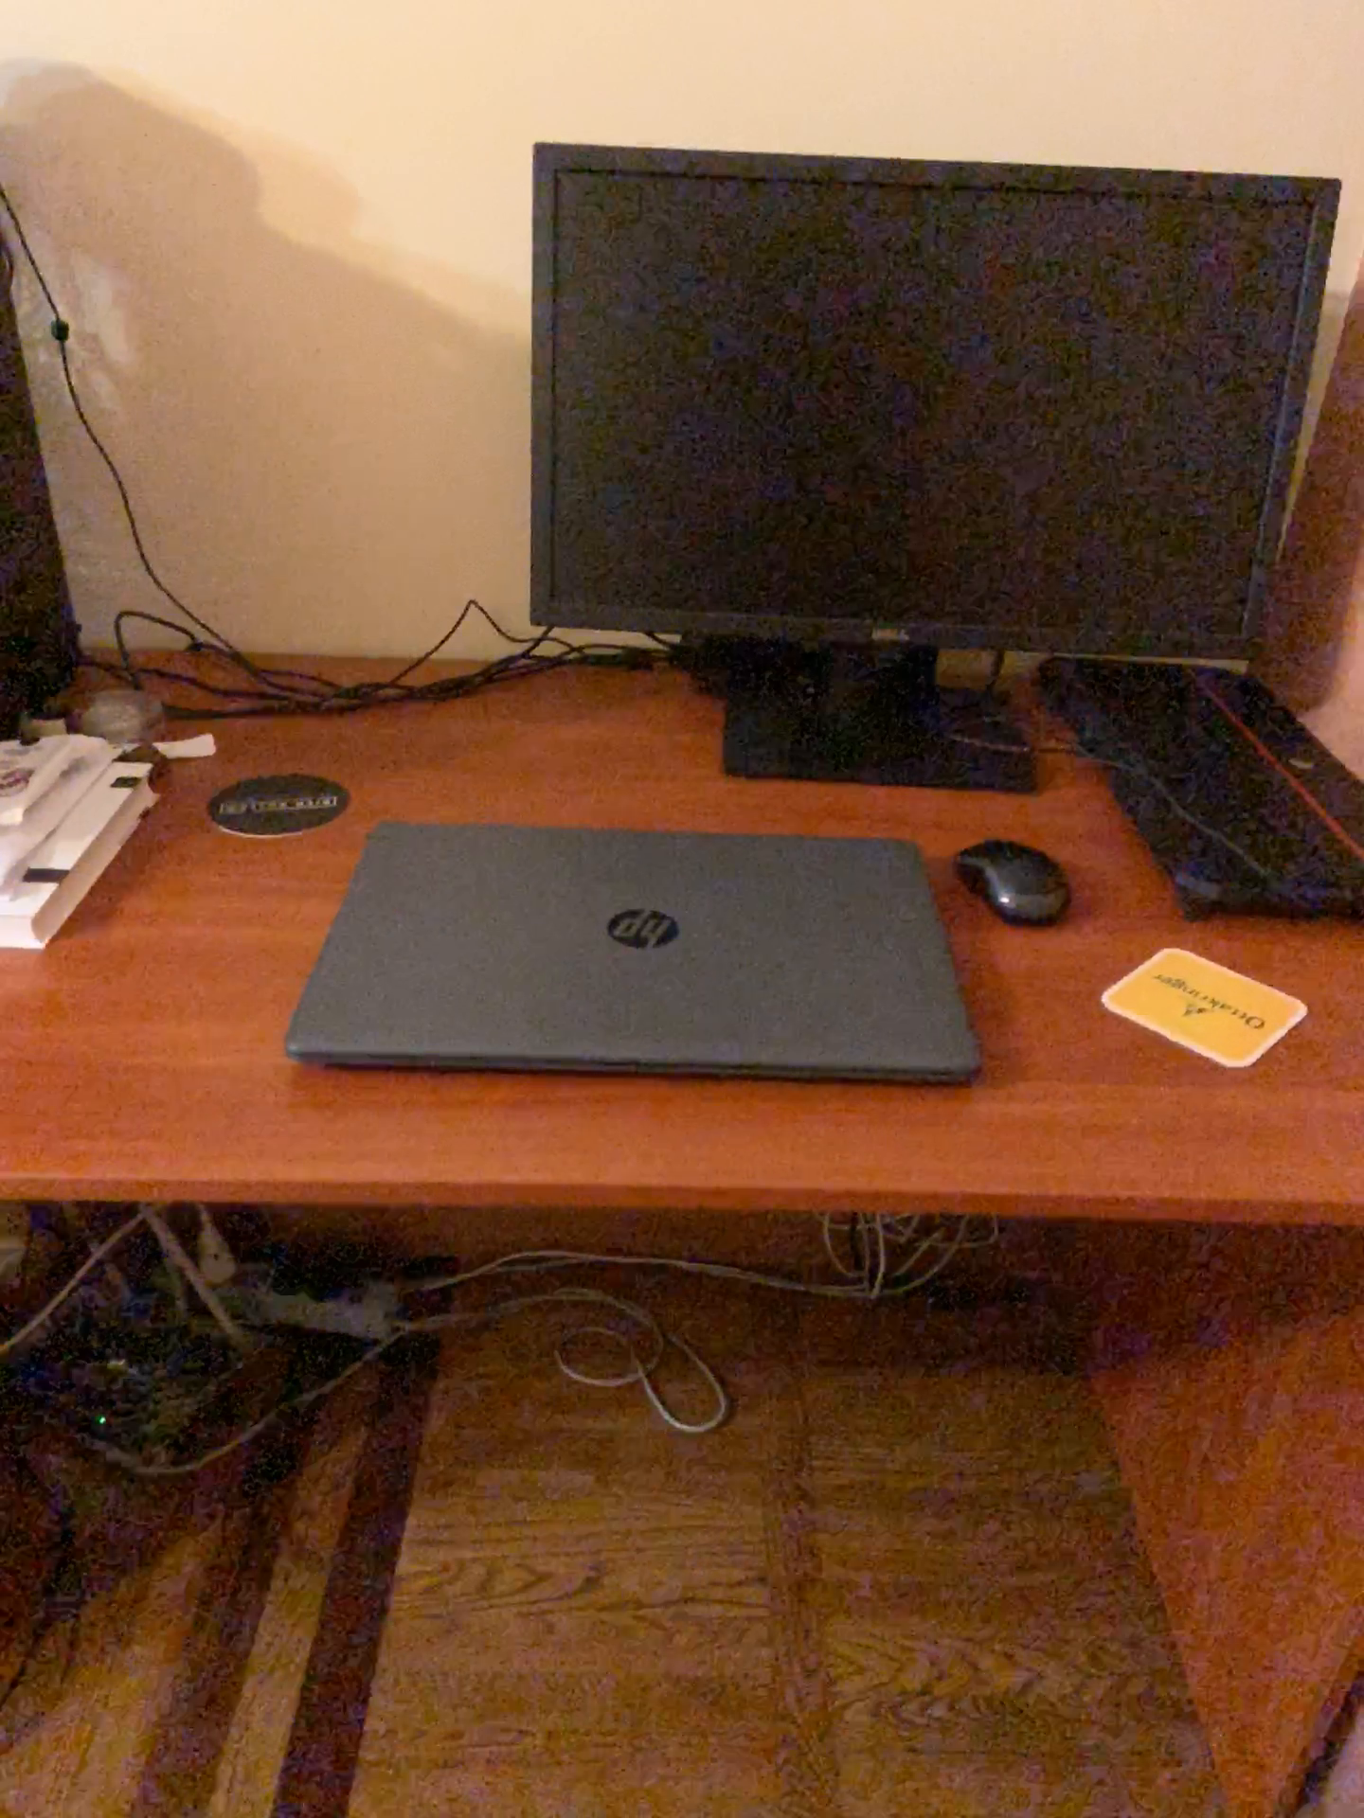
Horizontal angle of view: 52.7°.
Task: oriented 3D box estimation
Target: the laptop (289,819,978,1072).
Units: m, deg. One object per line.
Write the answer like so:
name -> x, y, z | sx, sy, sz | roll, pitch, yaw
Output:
laptop -> -0.027, 0.013, 0.842 | 0.368, 0.005, 0.248 | 2, 32, 0
